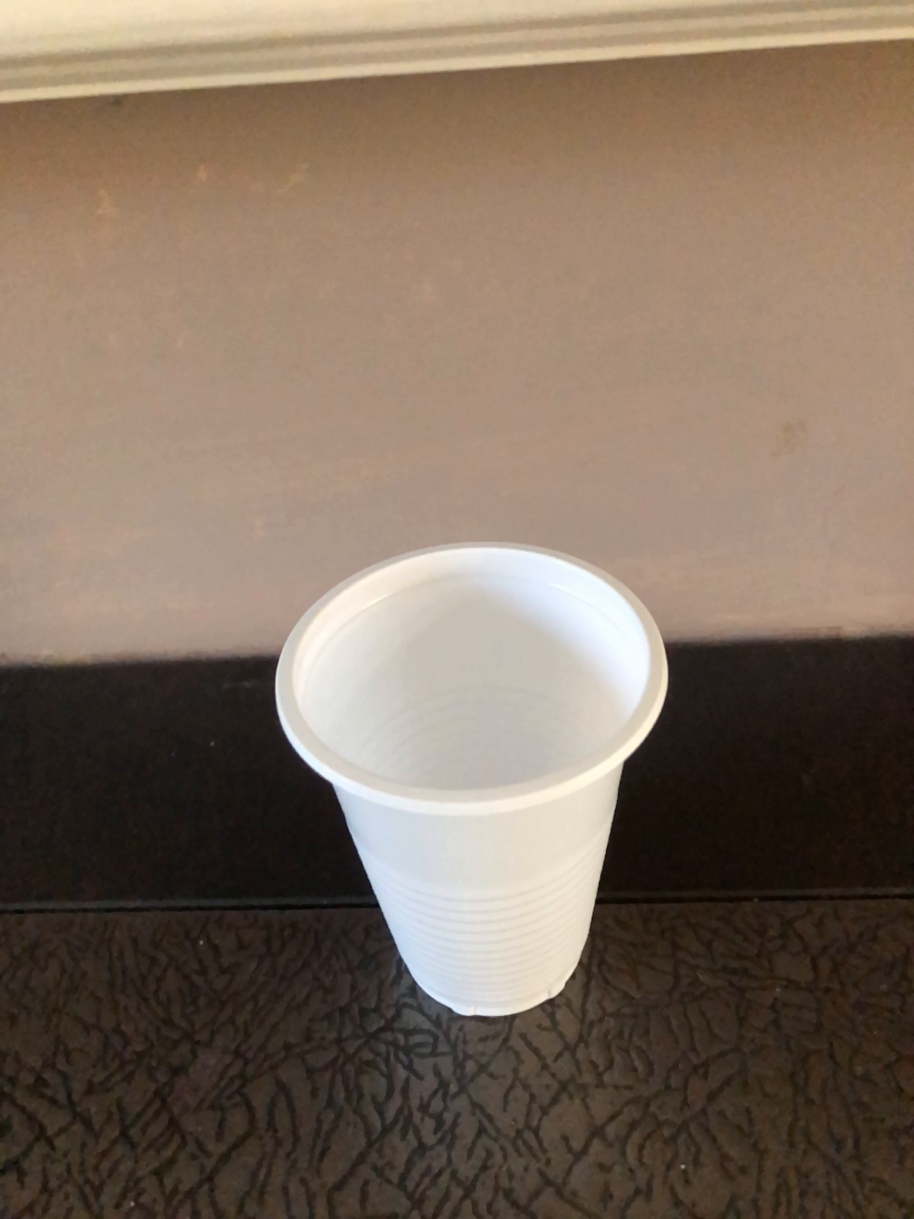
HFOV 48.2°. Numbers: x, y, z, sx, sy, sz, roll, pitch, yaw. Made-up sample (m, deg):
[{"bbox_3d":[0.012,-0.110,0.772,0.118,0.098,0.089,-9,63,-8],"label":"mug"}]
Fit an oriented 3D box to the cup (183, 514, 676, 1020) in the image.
[{"bbox_3d":[0.000,0.032,0.214,0.079,0.073,0.073,-4,40,3],"label":"cup"}]
